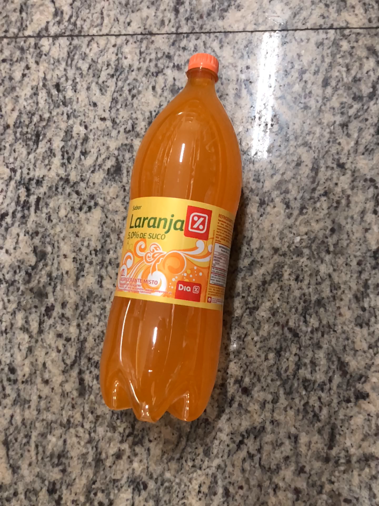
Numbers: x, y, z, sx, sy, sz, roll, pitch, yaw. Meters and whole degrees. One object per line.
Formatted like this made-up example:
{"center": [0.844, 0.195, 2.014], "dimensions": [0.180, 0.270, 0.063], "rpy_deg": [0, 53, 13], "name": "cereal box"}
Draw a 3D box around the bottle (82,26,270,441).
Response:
{"center": [-0.002, -0.029, 0.391], "dimensions": [0.120, 0.070, 0.350], "rpy_deg": [5, 81, 12], "name": "bottle"}
